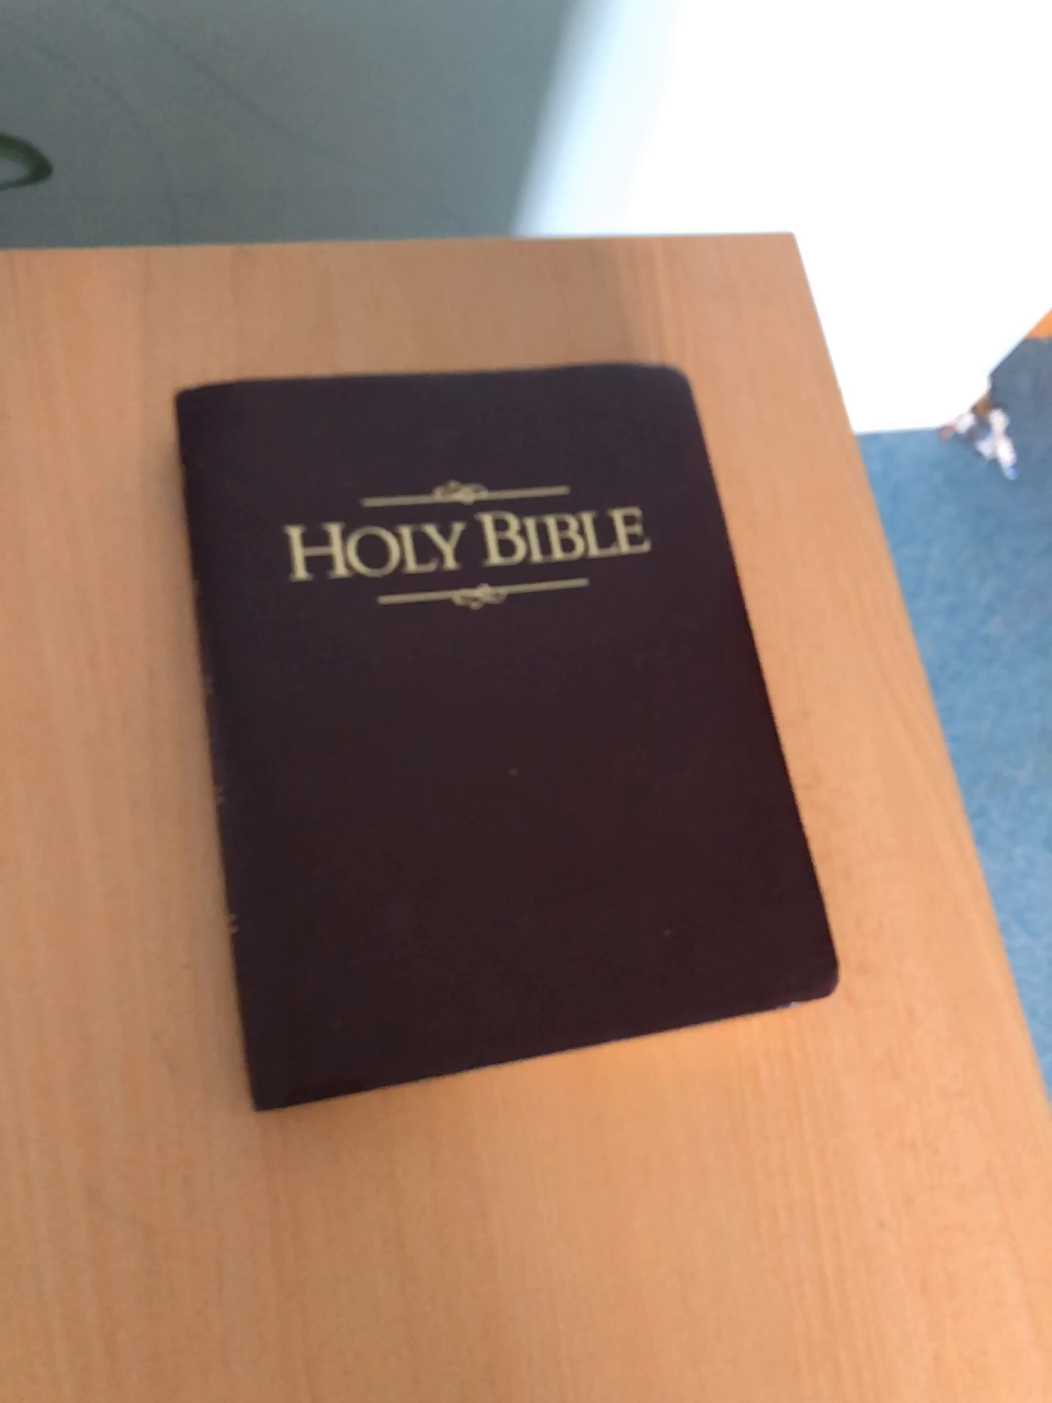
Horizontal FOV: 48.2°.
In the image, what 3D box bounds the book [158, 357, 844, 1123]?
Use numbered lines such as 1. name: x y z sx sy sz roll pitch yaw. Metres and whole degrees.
1. book: -0.016 0.000 0.472 0.223 0.040 0.280 -7 74 -14
